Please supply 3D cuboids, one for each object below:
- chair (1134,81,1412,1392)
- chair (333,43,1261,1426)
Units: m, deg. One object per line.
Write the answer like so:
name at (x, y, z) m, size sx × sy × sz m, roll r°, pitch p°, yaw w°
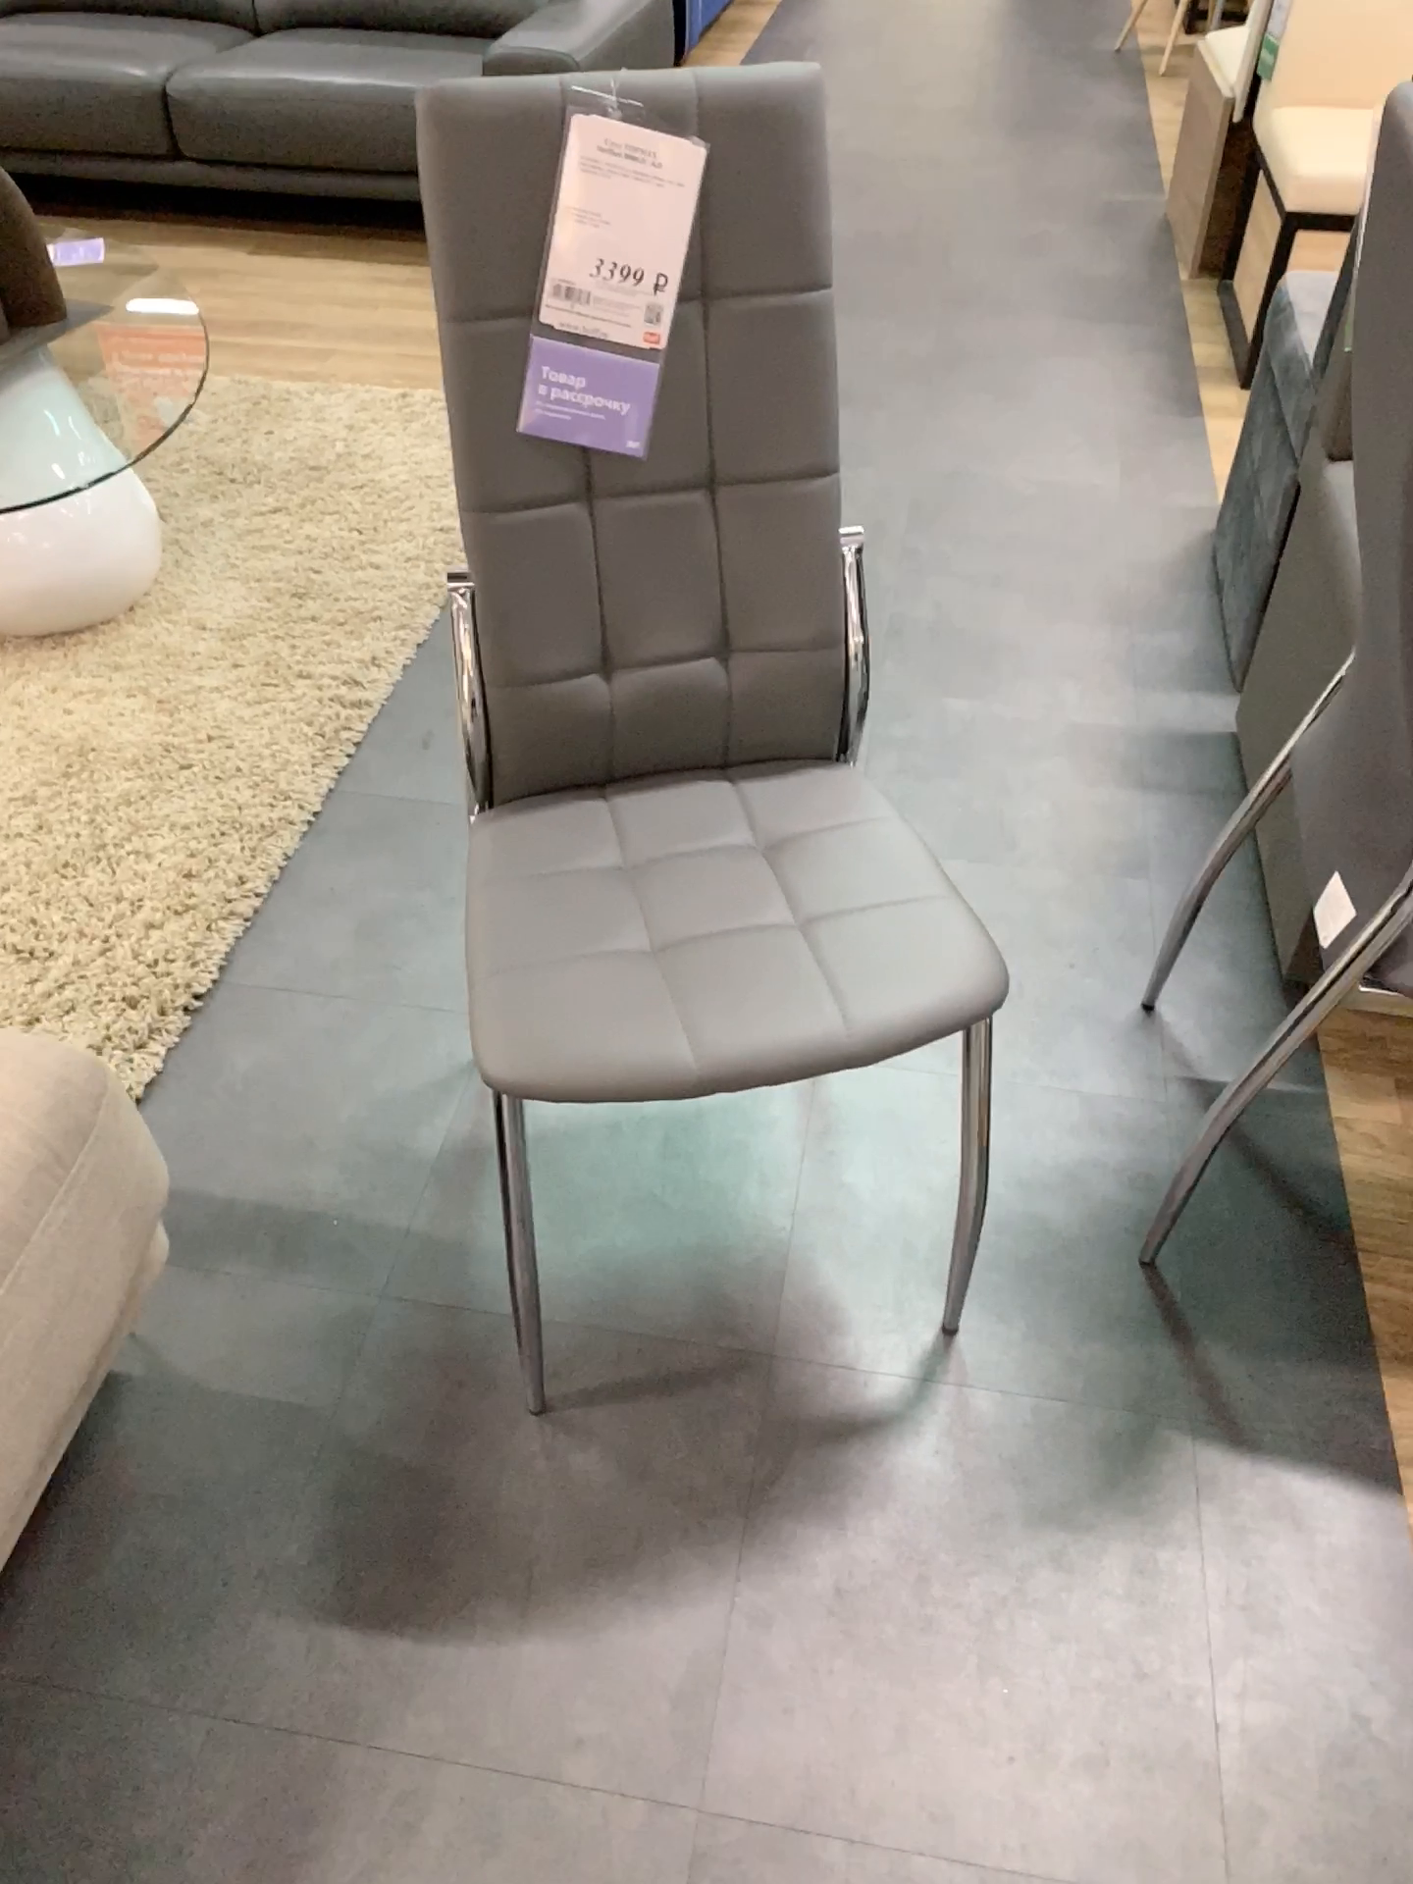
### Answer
chair at (0.772, -0.121, 1.301) m, size 0.550 × 1.024 × 0.453 m, roll 9°, pitch 43°, yaw 9°
chair at (0.006, -0.124, 1.262) m, size 0.470 × 1.024 × 0.533 m, roll -8°, pitch 43°, yaw -9°
